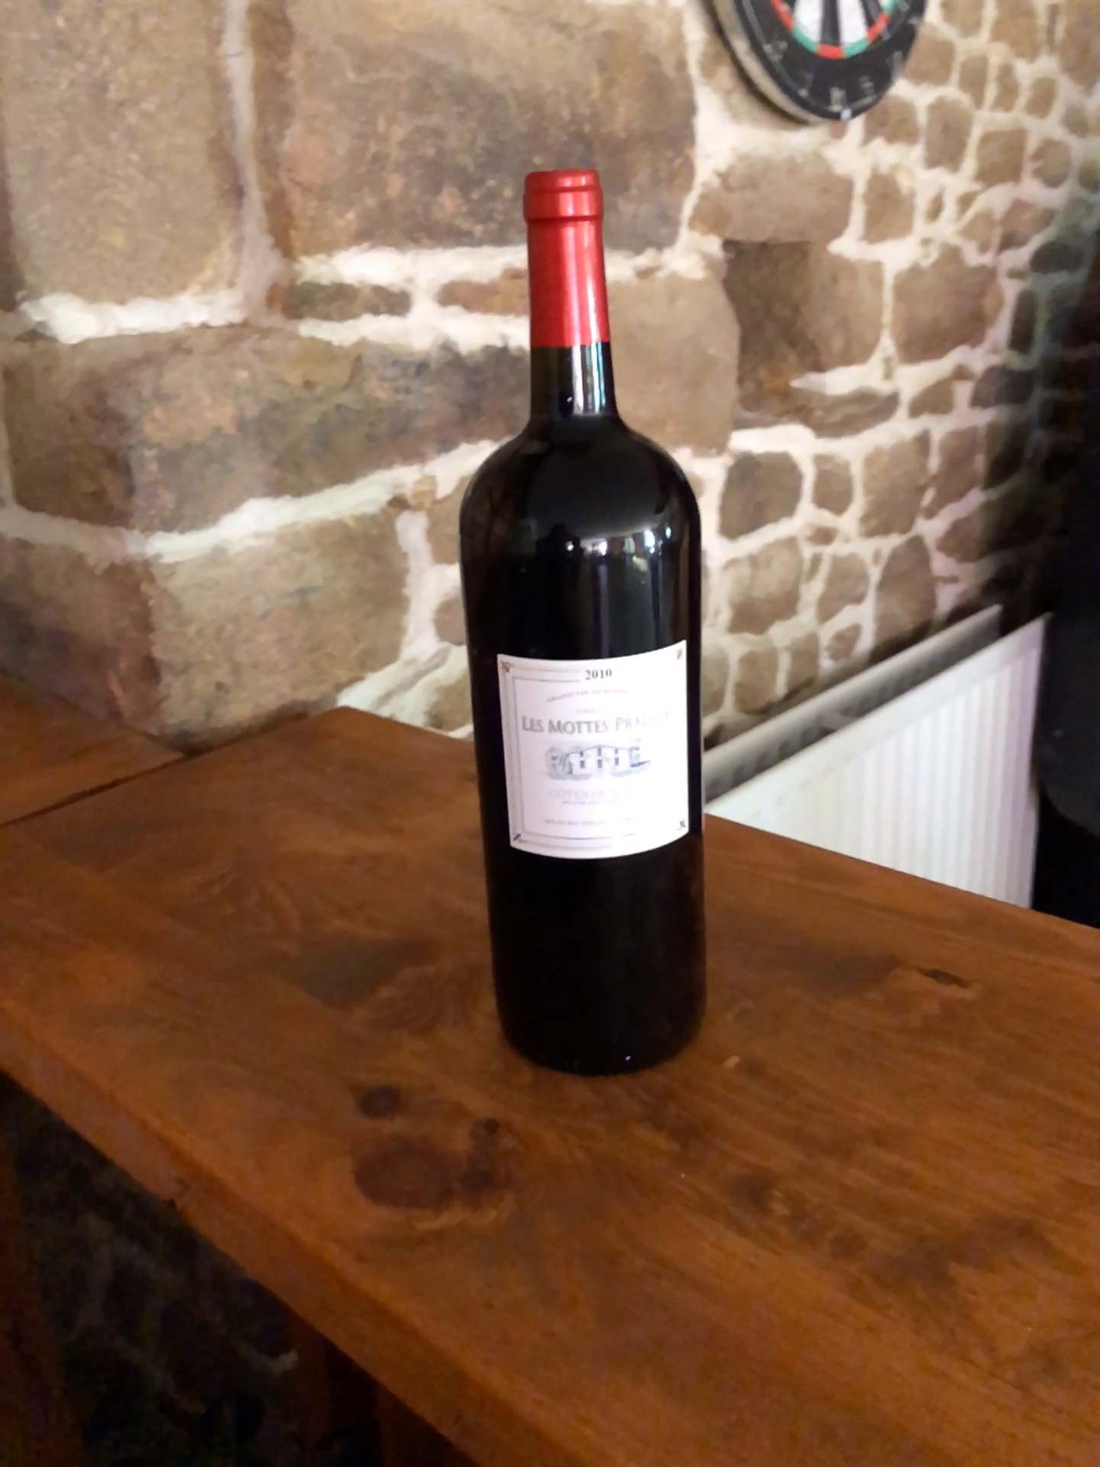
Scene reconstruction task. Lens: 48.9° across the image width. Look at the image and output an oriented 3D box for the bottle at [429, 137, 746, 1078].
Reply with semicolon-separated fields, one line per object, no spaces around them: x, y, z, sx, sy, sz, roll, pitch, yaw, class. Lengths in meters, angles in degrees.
0.019;-0.040;0.488;0.100;0.348;0.100;-2;20;1;bottle
